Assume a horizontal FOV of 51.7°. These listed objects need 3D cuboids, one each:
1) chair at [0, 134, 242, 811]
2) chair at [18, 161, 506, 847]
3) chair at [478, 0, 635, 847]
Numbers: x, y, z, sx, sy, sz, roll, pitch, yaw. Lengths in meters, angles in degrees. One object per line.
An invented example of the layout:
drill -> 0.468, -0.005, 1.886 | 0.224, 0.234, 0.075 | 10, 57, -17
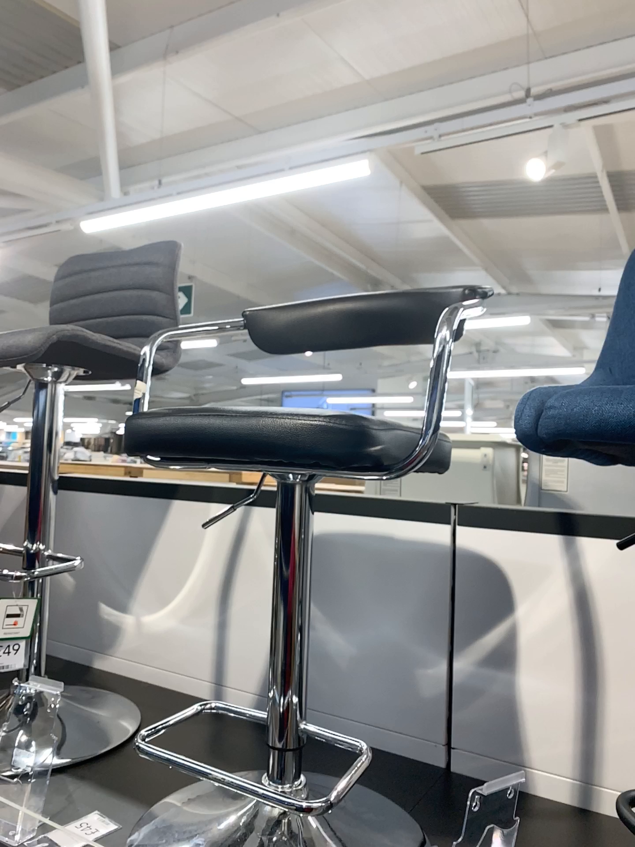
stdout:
chair -> -0.531, 0.068, 1.355 | 0.511, 1.066, 0.465 | 0, -5, 27
chair -> -0.036, 0.163, 0.978 | 0.511, 0.855, 0.465 | 0, -5, 27
chair -> 0.524, 0.130, 0.698 | 0.521, 0.955, 0.535 | 0, -6, 32
